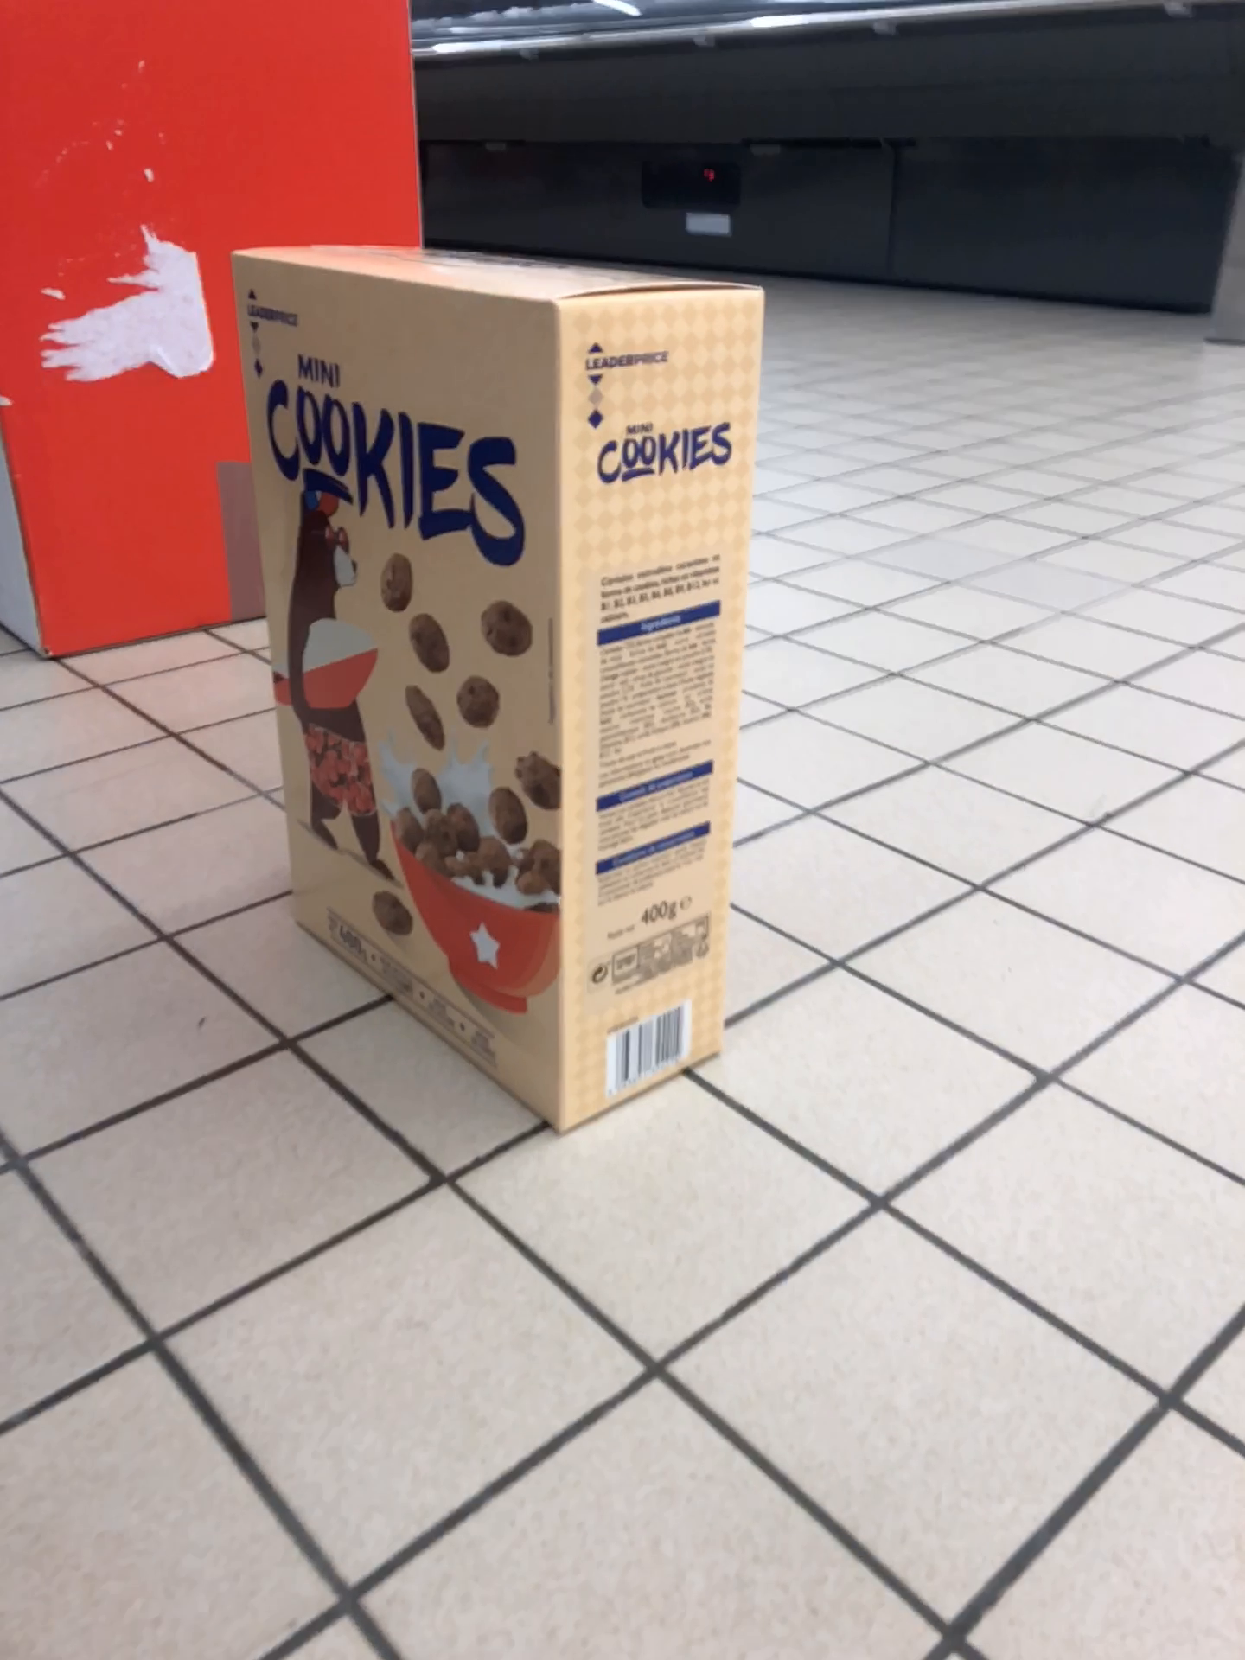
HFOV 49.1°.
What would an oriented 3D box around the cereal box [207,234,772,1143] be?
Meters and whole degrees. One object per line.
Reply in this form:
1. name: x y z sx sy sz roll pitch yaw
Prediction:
1. cereal box: -0.052 -0.063 0.502 0.080 0.278 0.200 -21 33 -36
